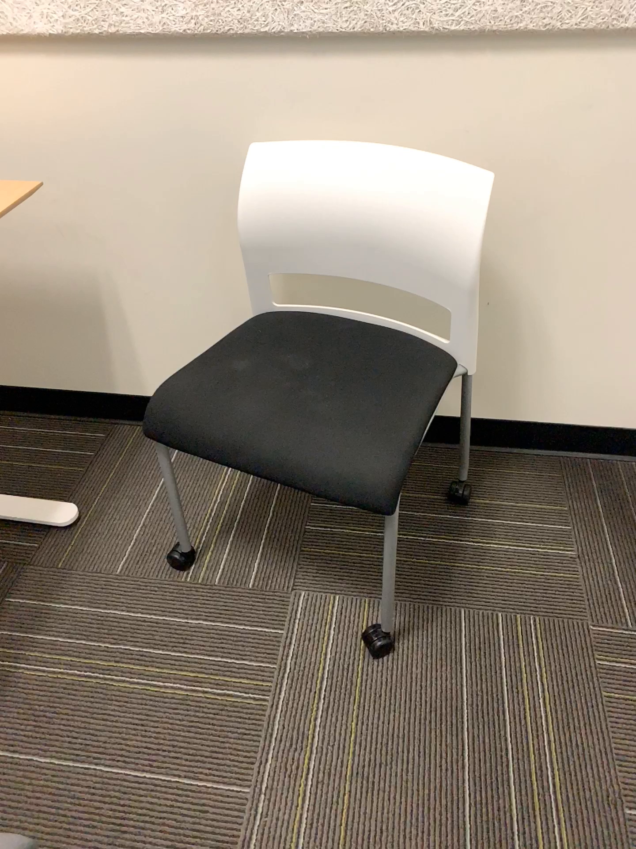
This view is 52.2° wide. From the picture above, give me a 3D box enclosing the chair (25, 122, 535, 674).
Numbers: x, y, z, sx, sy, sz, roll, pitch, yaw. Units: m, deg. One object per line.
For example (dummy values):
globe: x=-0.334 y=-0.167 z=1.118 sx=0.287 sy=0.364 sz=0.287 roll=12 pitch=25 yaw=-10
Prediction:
chair: x=-0.011 y=-0.072 z=1.211 sx=0.581 sy=0.736 sz=0.542 roll=16 pitch=43 yaw=21
